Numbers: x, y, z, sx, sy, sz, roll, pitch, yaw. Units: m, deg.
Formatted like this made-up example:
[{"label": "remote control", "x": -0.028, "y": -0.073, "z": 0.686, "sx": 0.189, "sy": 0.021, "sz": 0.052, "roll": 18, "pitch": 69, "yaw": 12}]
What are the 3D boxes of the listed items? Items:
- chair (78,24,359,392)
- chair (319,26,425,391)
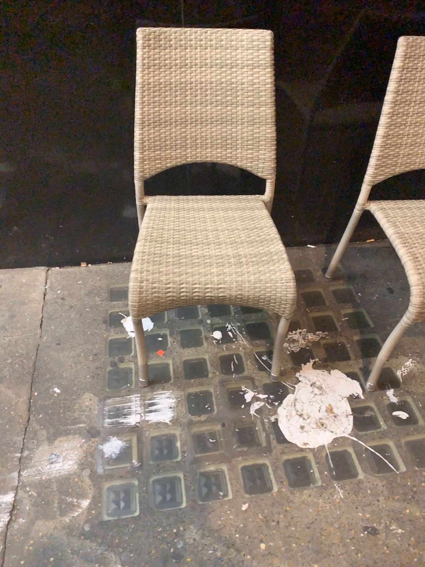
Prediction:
[{"label": "chair", "x": -0.005, "y": -0.190, "z": 1.248, "sx": 0.480, "sy": 0.832, "sz": 0.616, "roll": -2, "pitch": 45, "yaw": -2}, {"label": "chair", "x": 0.748, "y": -0.217, "z": 1.308, "sx": 0.580, "sy": 0.901, "sz": 0.606, "roll": -1, "pitch": 37, "yaw": -1}]
